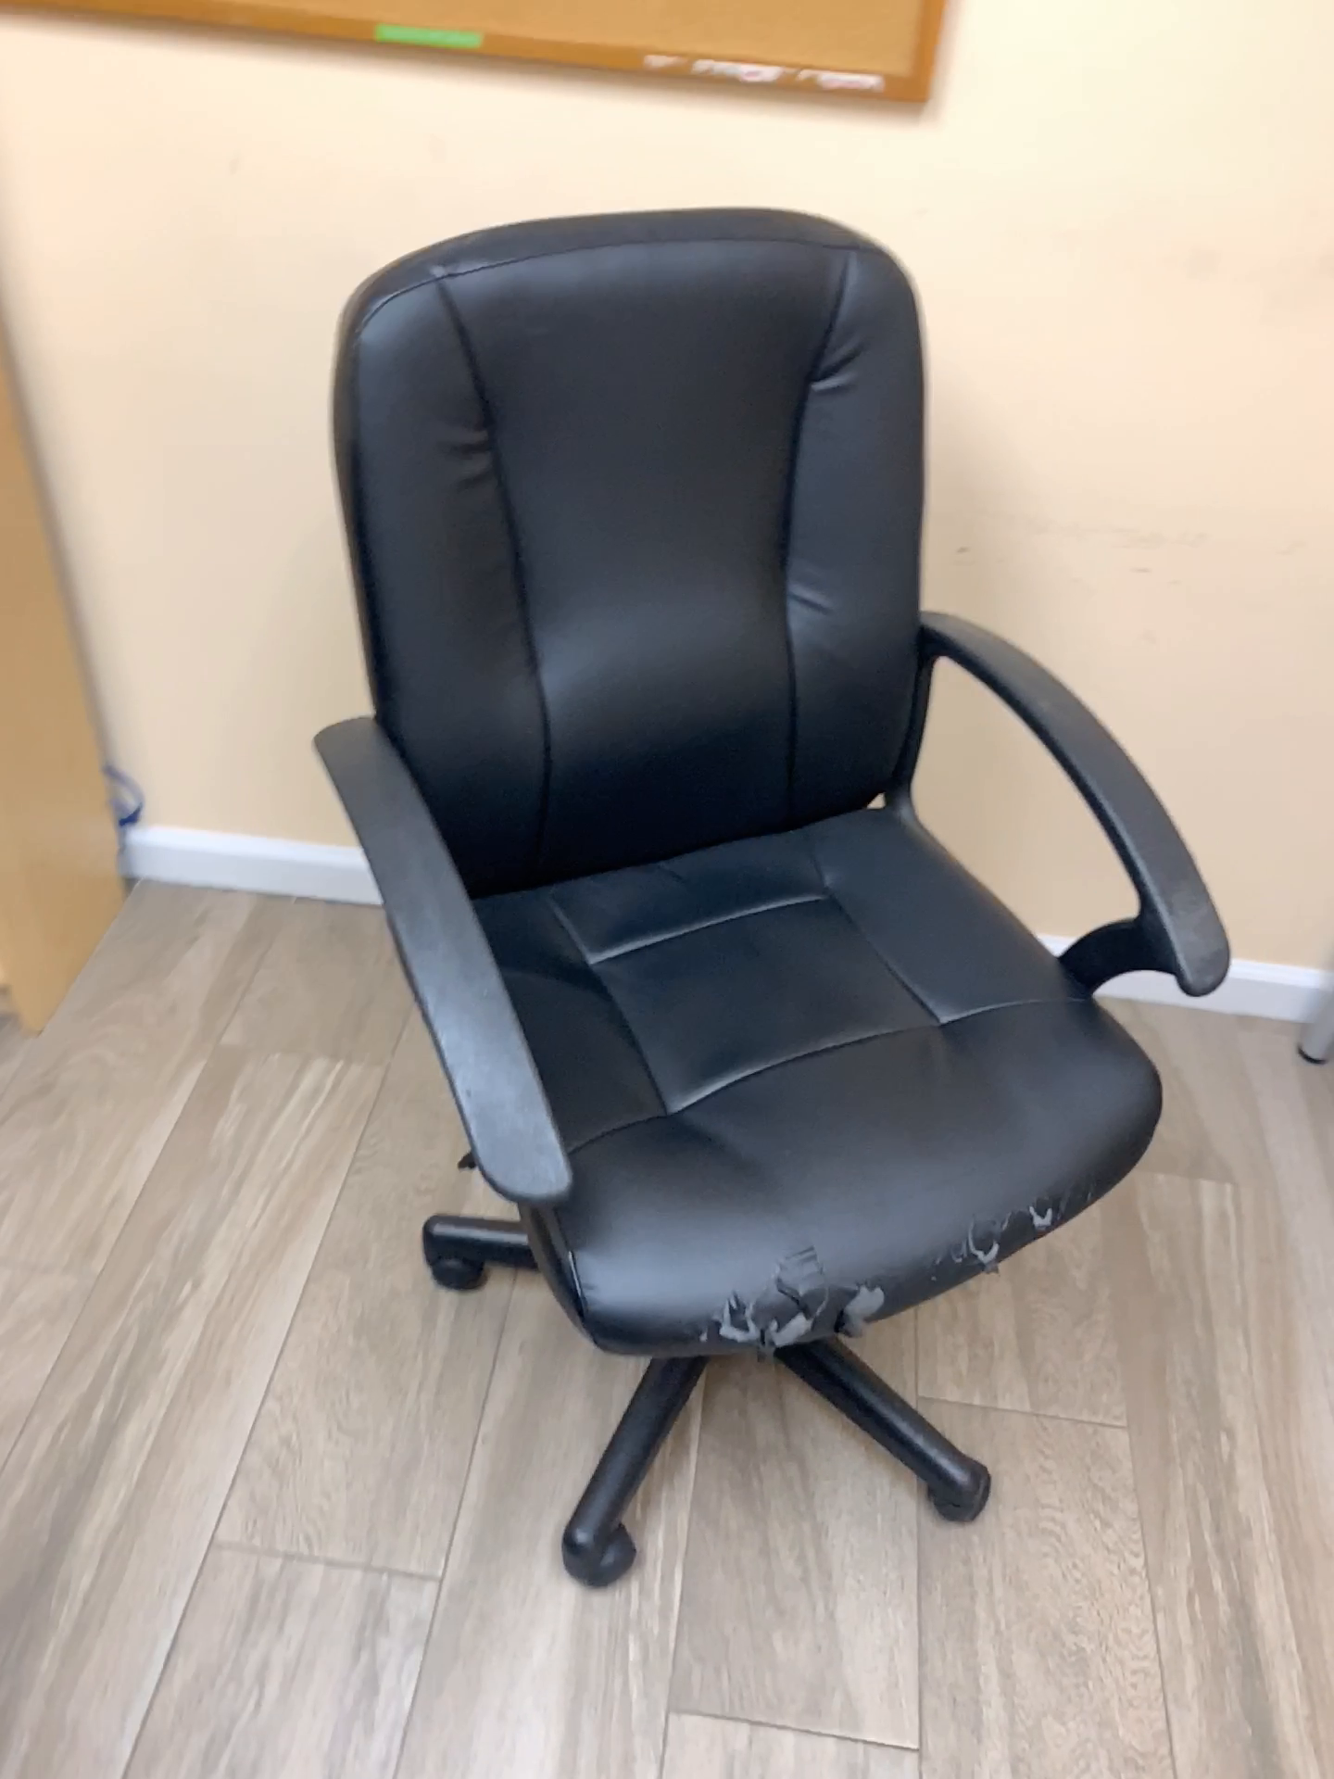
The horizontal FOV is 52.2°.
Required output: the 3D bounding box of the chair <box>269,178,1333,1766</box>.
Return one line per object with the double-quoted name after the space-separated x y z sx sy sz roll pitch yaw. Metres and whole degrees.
0.144 0.059 1.112 0.683 0.987 0.647 -13 44 -21 "chair"
